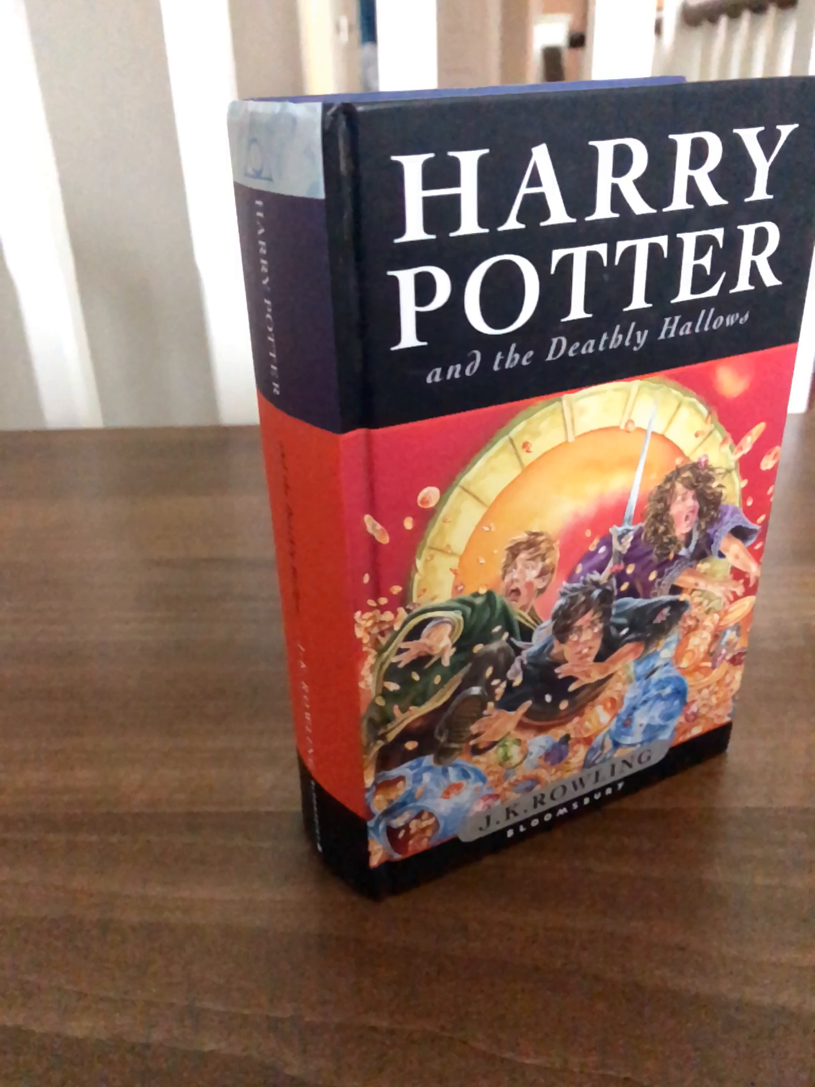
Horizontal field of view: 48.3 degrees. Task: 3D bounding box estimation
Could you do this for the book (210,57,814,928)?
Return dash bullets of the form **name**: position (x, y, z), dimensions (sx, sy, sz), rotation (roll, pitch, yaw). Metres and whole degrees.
- **book**: position (0.034, -0.016, 0.256), dimensions (0.140, 0.209, 0.060), rotation (-14, 28, -23)
